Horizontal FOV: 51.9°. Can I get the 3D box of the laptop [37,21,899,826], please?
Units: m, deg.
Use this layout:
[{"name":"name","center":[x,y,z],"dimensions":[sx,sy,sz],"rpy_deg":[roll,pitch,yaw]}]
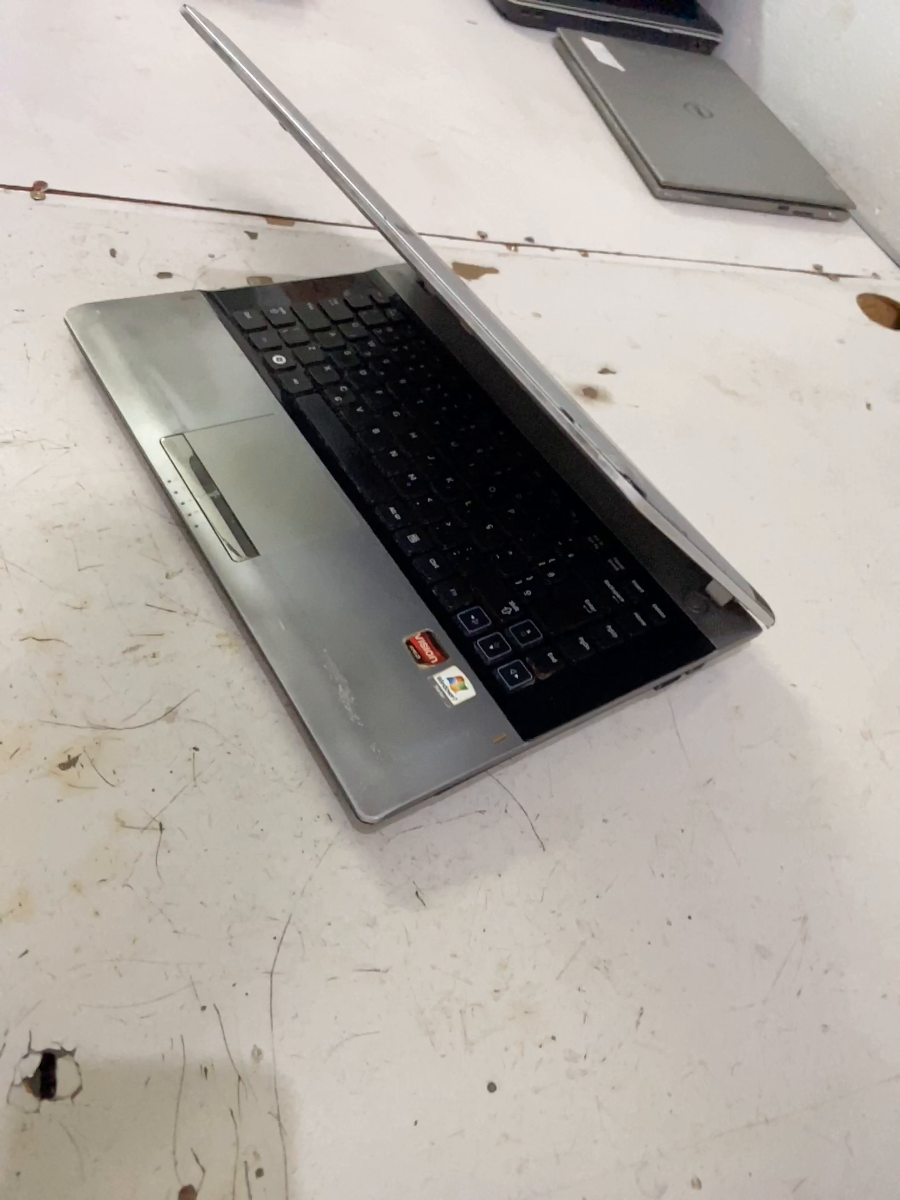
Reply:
[{"name":"laptop","center":[-0.011,-0.119,0.440],"dimensions":[0.234,0.150,0.345],"rpy_deg":[-20,58,-29]}]
